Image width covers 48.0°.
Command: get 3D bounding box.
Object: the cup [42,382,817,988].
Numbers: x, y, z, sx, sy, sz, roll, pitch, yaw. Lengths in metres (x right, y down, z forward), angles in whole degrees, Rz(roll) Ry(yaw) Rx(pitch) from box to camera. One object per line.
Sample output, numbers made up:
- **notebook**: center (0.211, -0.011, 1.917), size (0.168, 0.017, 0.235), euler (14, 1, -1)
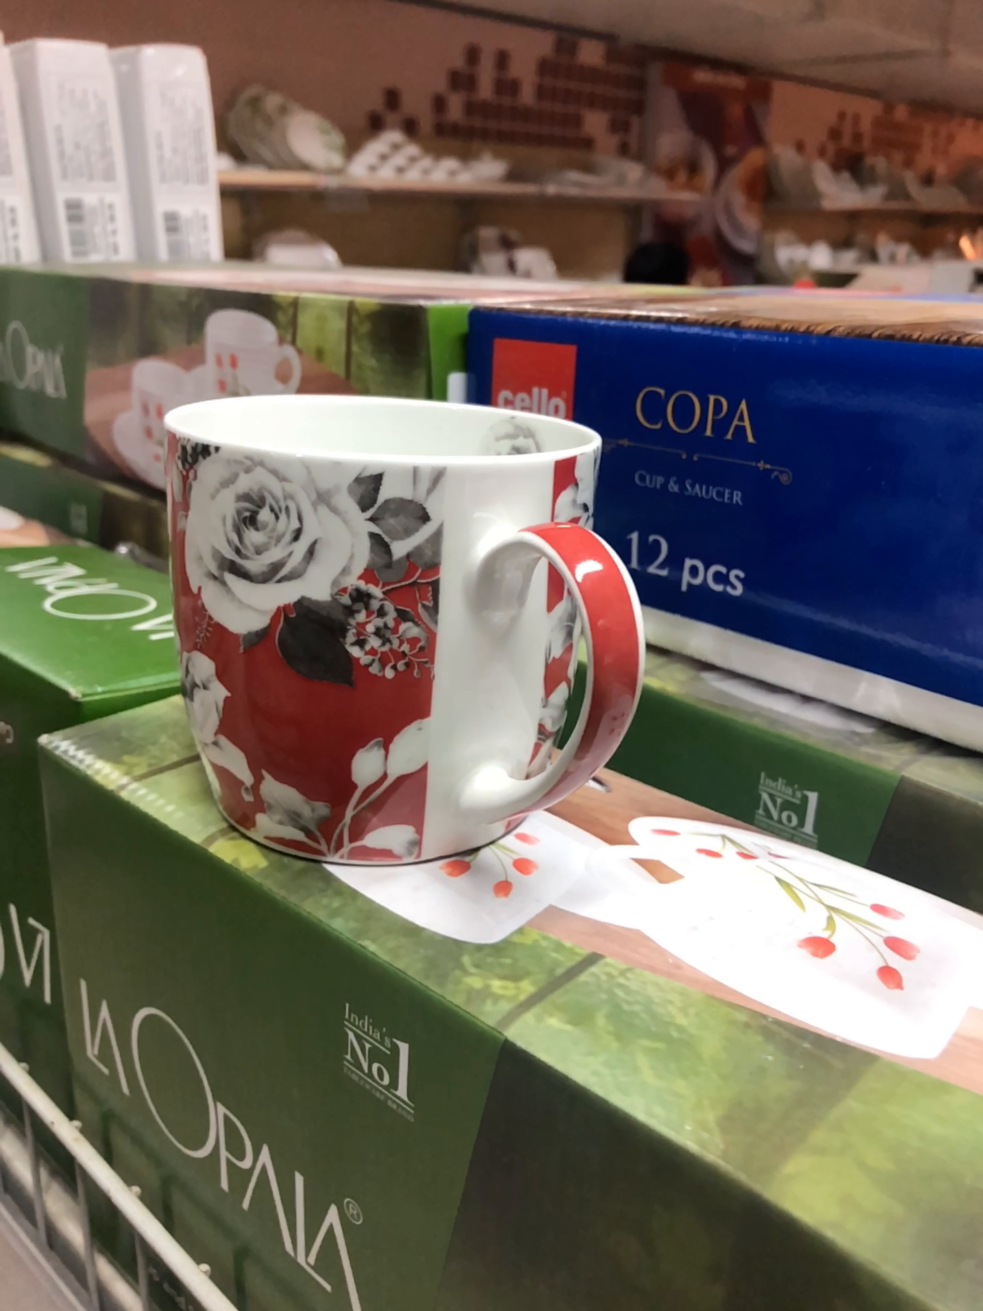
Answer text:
- **cup**: center (-0.016, -0.010, 0.209), size (0.090, 0.070, 0.110), euler (-13, 25, -42)
